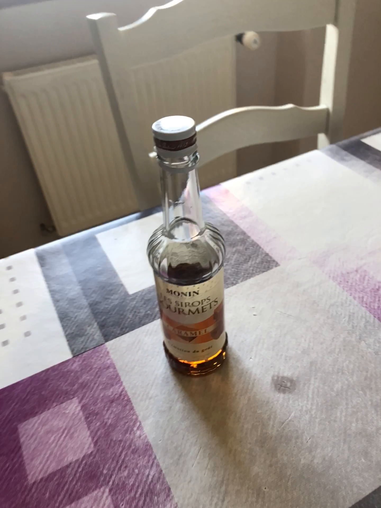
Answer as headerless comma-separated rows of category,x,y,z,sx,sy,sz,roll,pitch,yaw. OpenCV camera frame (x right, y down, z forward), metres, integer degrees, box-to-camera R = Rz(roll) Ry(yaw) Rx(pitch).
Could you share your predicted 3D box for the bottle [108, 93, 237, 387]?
bottle,-0.004,0.006,0.341,0.070,0.239,0.070,-4,40,3
